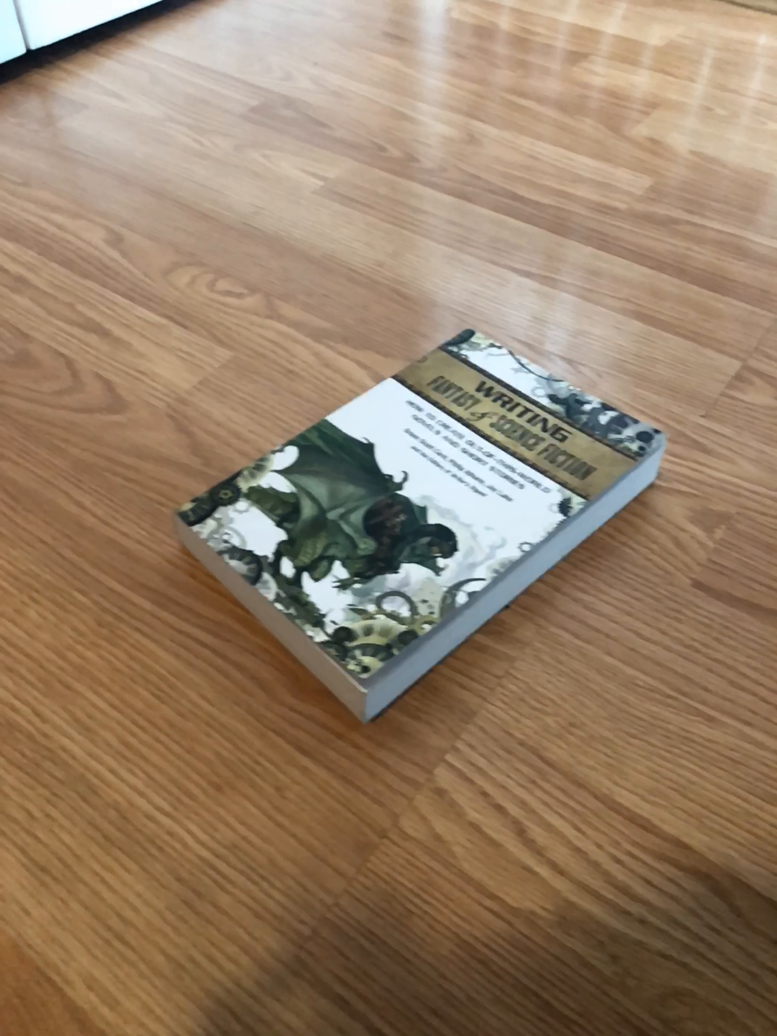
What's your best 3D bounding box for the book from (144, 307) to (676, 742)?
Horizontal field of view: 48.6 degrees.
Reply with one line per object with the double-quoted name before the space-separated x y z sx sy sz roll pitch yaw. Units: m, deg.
"book" 0.015 -0.016 0.464 0.228 0.040 0.165 -36 57 -28
